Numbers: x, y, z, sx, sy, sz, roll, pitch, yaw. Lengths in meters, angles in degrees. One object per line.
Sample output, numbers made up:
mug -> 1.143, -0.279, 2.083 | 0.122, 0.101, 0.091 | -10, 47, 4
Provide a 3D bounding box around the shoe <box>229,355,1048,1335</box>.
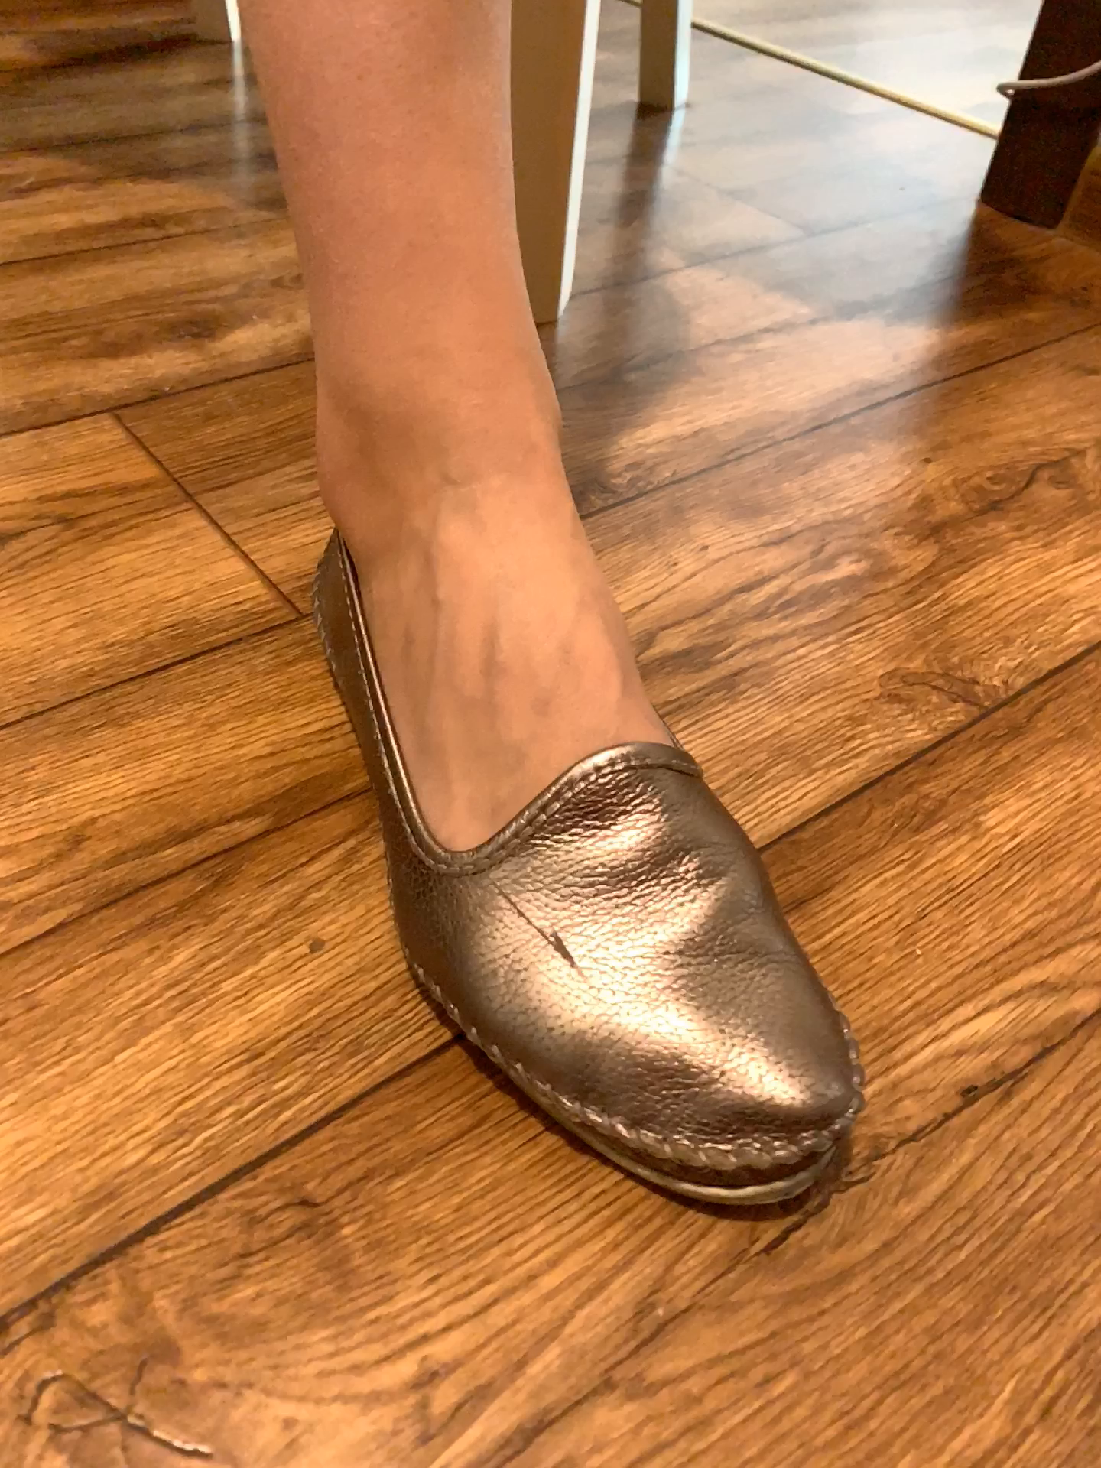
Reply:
shoe -> 0.000, 0.007, 0.289 | 0.095, 0.070, 0.231 | -16, 57, -21
